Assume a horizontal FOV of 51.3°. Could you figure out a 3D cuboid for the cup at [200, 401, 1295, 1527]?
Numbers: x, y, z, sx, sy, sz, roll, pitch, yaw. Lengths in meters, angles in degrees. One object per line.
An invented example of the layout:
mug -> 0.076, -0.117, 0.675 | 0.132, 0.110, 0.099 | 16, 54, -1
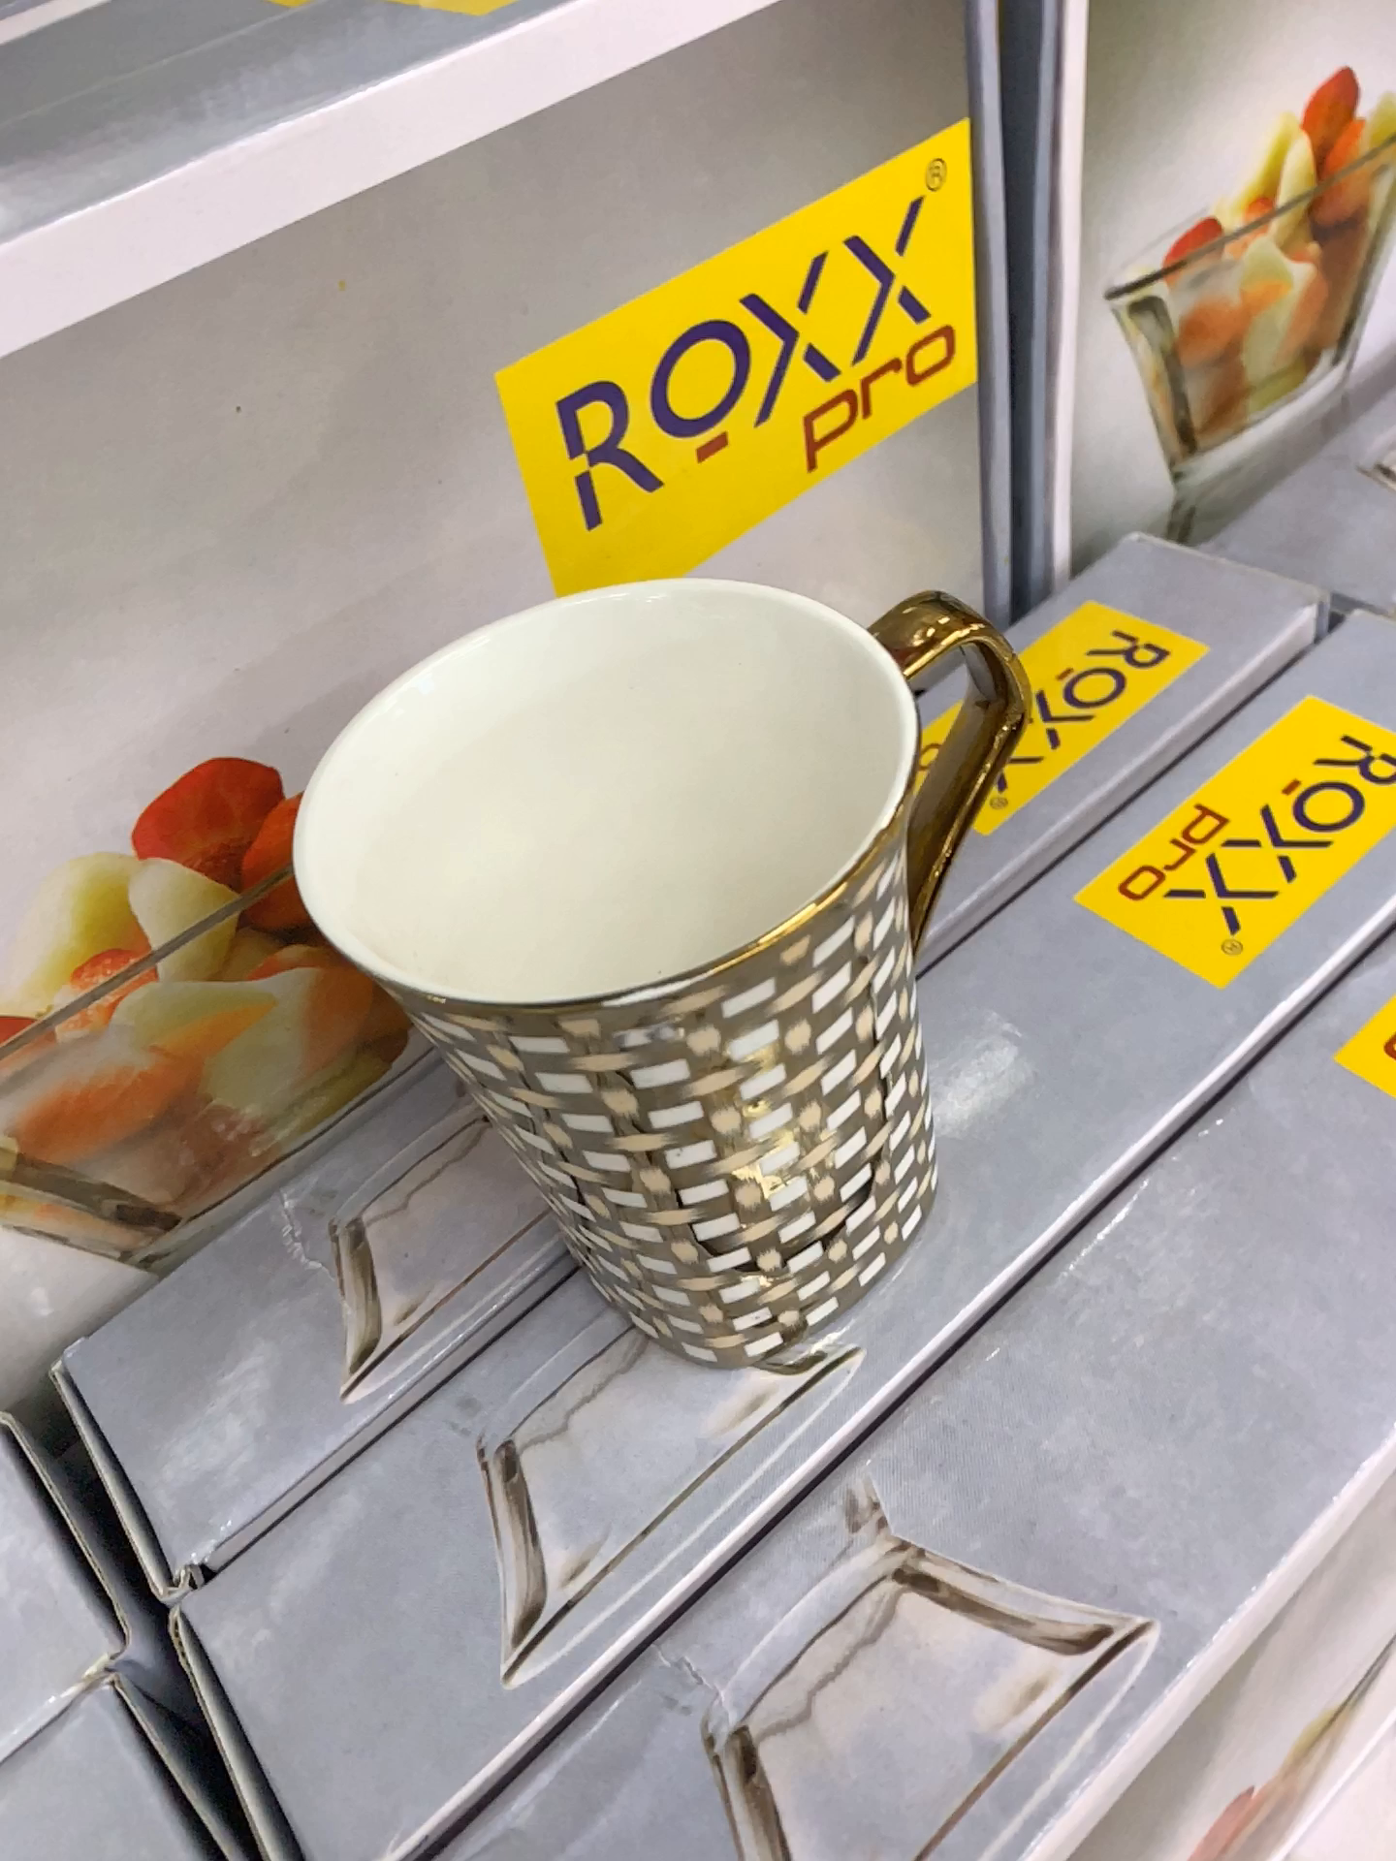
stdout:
cup -> 0.013, -0.001, 0.208 | 0.110, 0.089, 0.080 | -39, 51, -24
